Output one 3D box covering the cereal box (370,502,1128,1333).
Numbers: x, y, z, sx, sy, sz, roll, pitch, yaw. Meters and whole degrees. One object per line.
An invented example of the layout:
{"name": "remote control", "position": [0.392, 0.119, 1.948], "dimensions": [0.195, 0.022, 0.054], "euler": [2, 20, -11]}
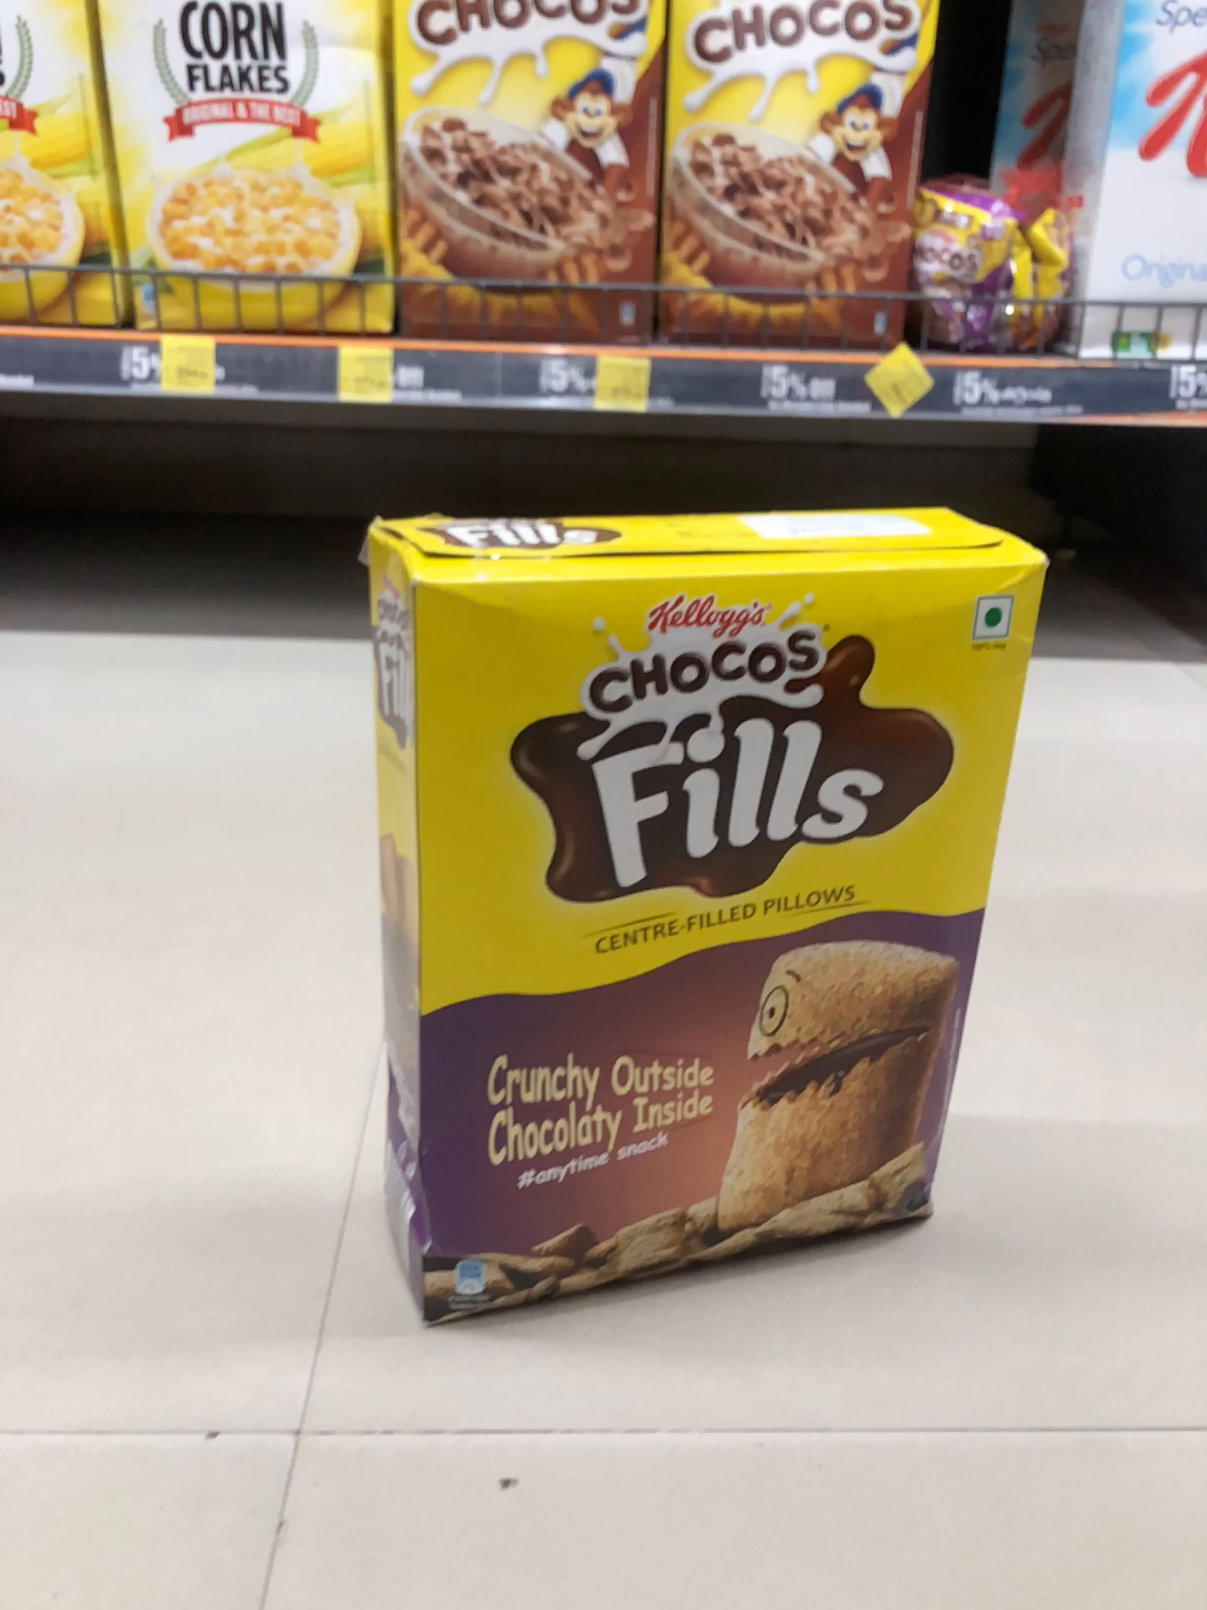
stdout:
{"name": "cereal box", "position": [0.033, 0.028, 0.407], "dimensions": [0.190, 0.219, 0.080], "euler": [-5, 23, -17]}
